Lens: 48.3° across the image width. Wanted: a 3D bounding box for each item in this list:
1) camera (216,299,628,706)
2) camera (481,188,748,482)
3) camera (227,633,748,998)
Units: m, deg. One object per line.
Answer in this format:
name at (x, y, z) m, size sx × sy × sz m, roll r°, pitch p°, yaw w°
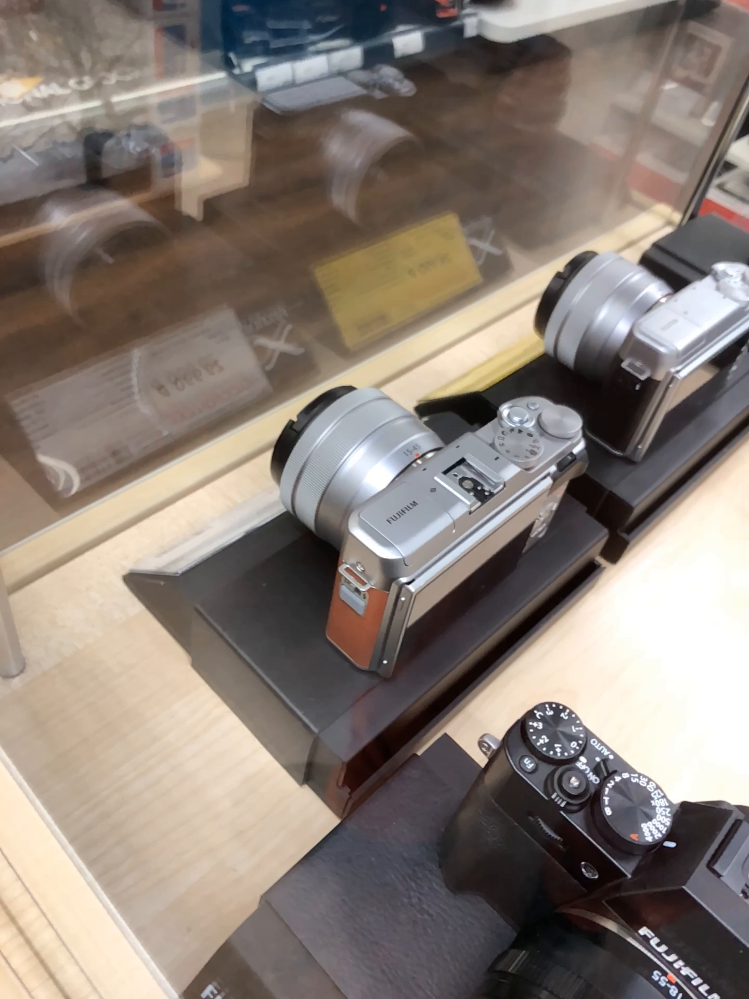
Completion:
camera at (0.016, -0.005, 0.328) m, size 0.093 × 0.075 × 0.121 m, roll 40°, pitch 52°, yaw 22°
camera at (0.136, -0.088, 0.425) m, size 0.093 × 0.075 × 0.121 m, roll 40°, pitch 52°, yaw 22°
camera at (0.052, 0.131, 0.203) m, size 0.131 × 0.090 × 0.113 m, roll 40°, pitch 52°, yaw 23°
